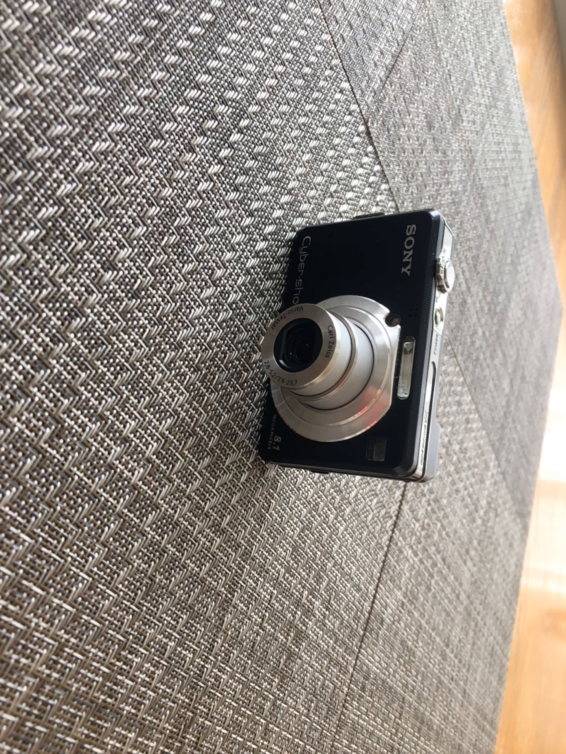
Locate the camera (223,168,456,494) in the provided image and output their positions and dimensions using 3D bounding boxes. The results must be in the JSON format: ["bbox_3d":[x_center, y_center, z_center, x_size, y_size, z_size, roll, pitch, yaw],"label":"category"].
[{"bbox_3d":[0.023,-0.013,0.219,0.049,0.052,0.095,28,67,-54],"label":"camera"}]
